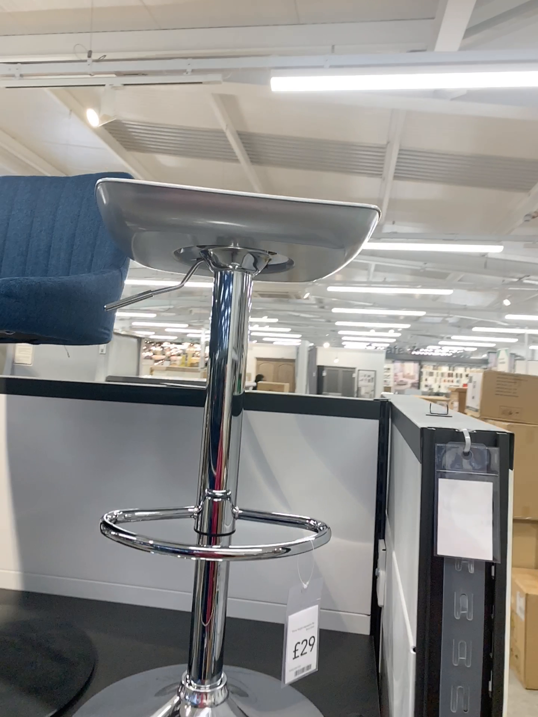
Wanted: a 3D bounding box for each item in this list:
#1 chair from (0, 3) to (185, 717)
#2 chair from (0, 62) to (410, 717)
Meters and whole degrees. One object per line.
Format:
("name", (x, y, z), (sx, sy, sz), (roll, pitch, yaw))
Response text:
("chair", (-0.476, 0.034, 0.864), (0.532, 0.884, 0.482), (3, -2, 4))
("chair", (-0.078, 0.106, 0.760), (0.402, 0.804, 0.402), (3, -2, -1))
